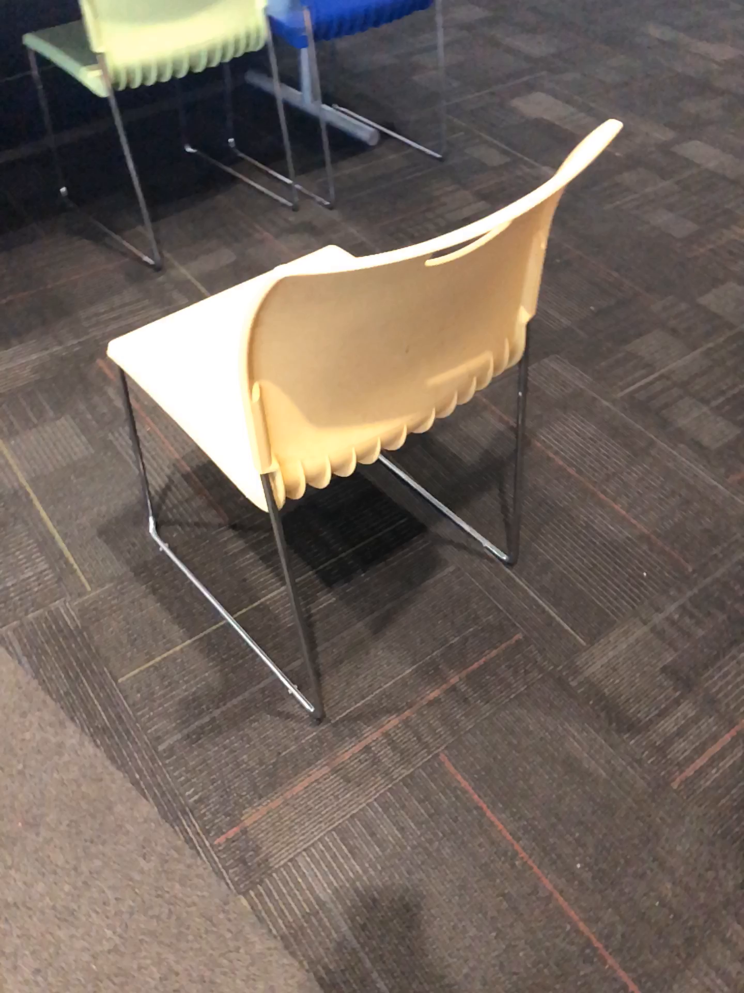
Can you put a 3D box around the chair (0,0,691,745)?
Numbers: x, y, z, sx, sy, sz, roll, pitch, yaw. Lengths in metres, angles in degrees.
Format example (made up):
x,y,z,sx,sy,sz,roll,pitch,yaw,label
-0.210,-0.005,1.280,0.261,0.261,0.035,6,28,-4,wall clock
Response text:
x,y,z,sx,sy,sz,roll,pitch,yaw,label
-0.059,-0.192,1.169,0.571,0.737,0.562,-32,55,-27,chair
